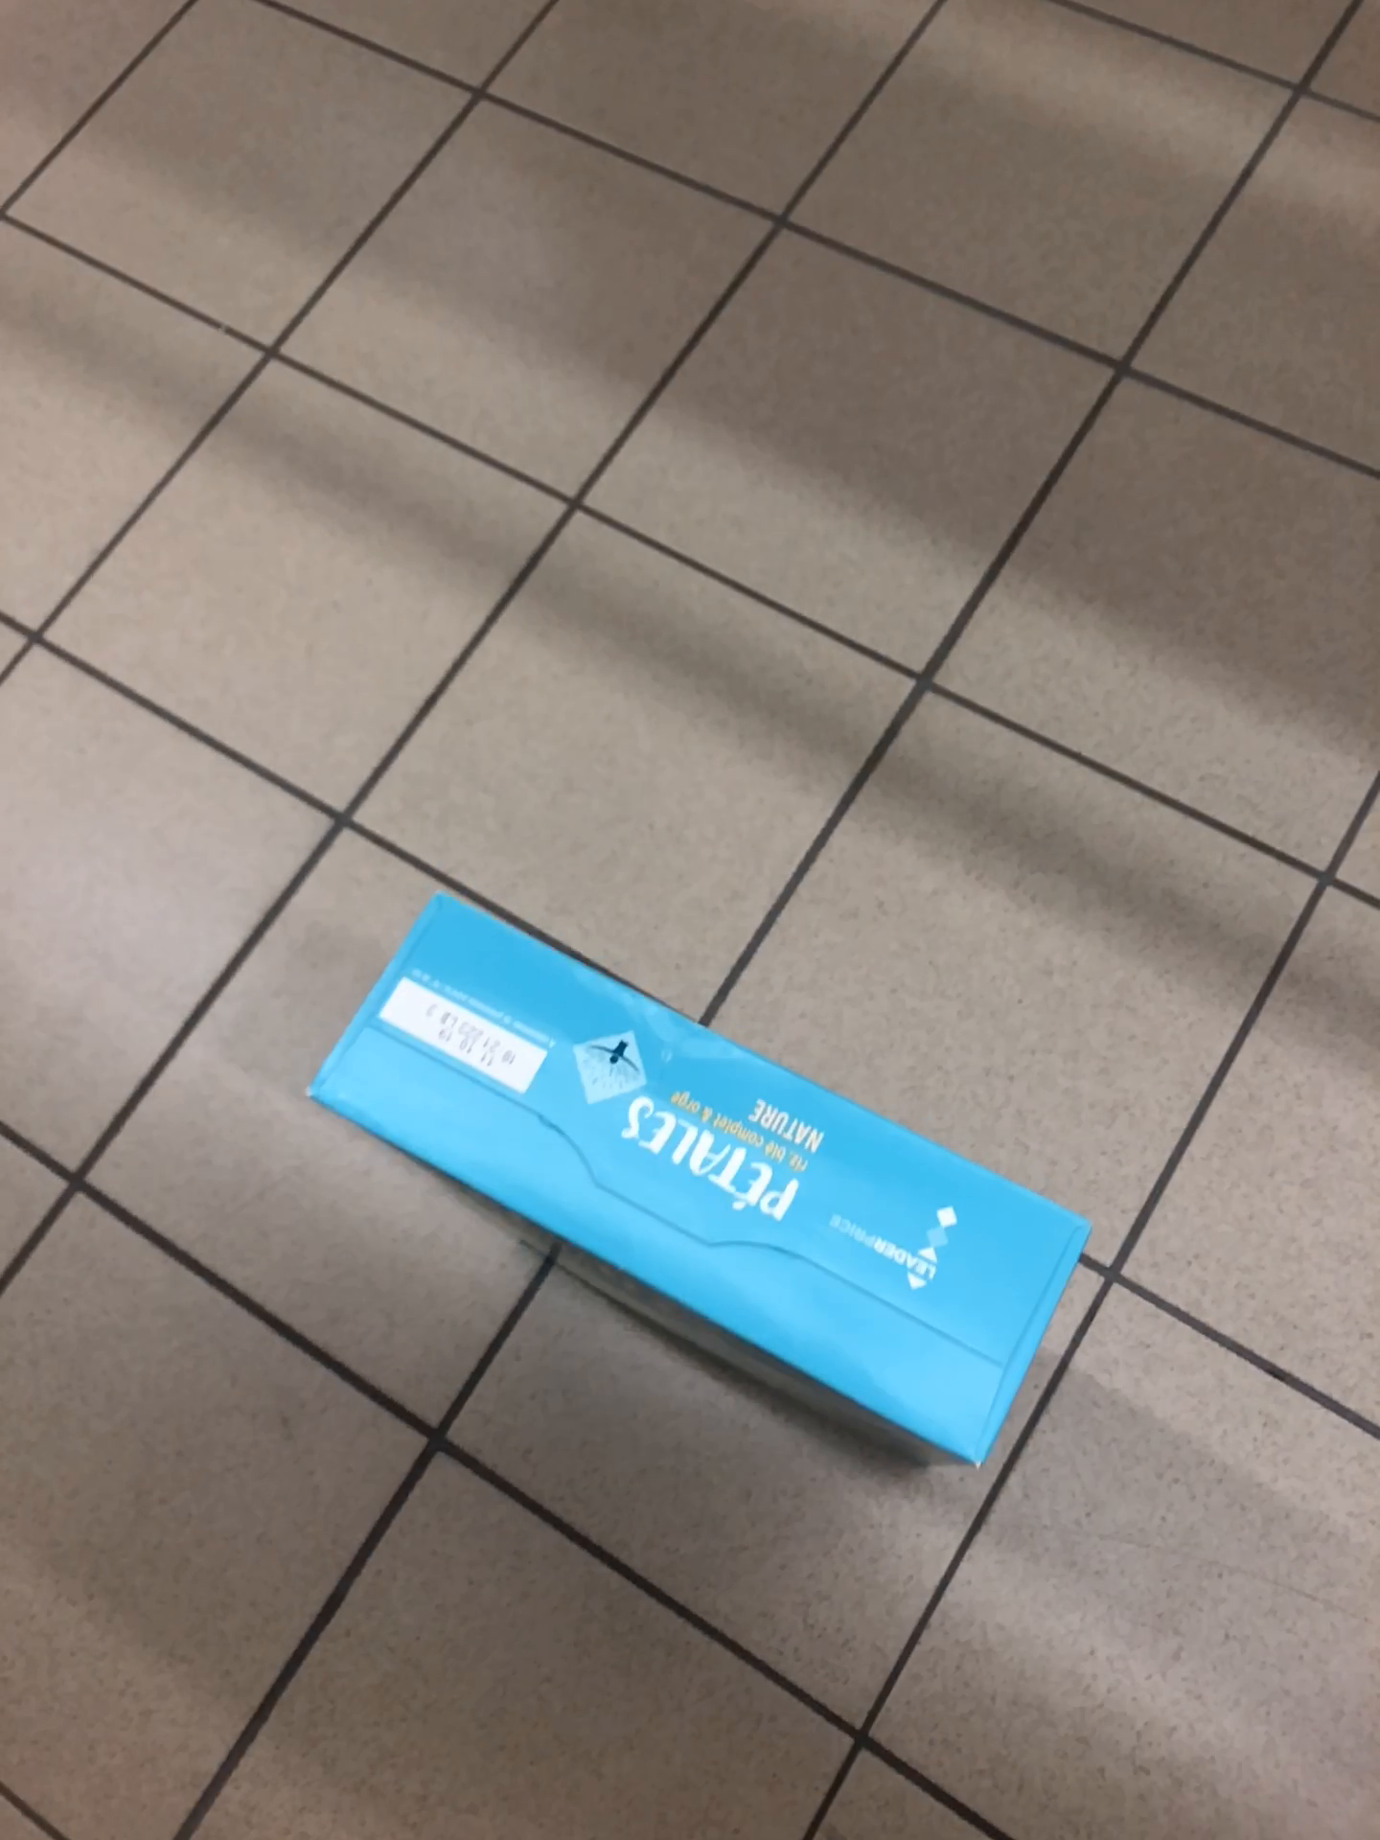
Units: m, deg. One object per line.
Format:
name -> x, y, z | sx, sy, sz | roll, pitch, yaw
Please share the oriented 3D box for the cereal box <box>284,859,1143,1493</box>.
cereal box -> 0.015, 0.102, 0.496 | 0.200, 0.270, 0.070 | 26, 74, 14
